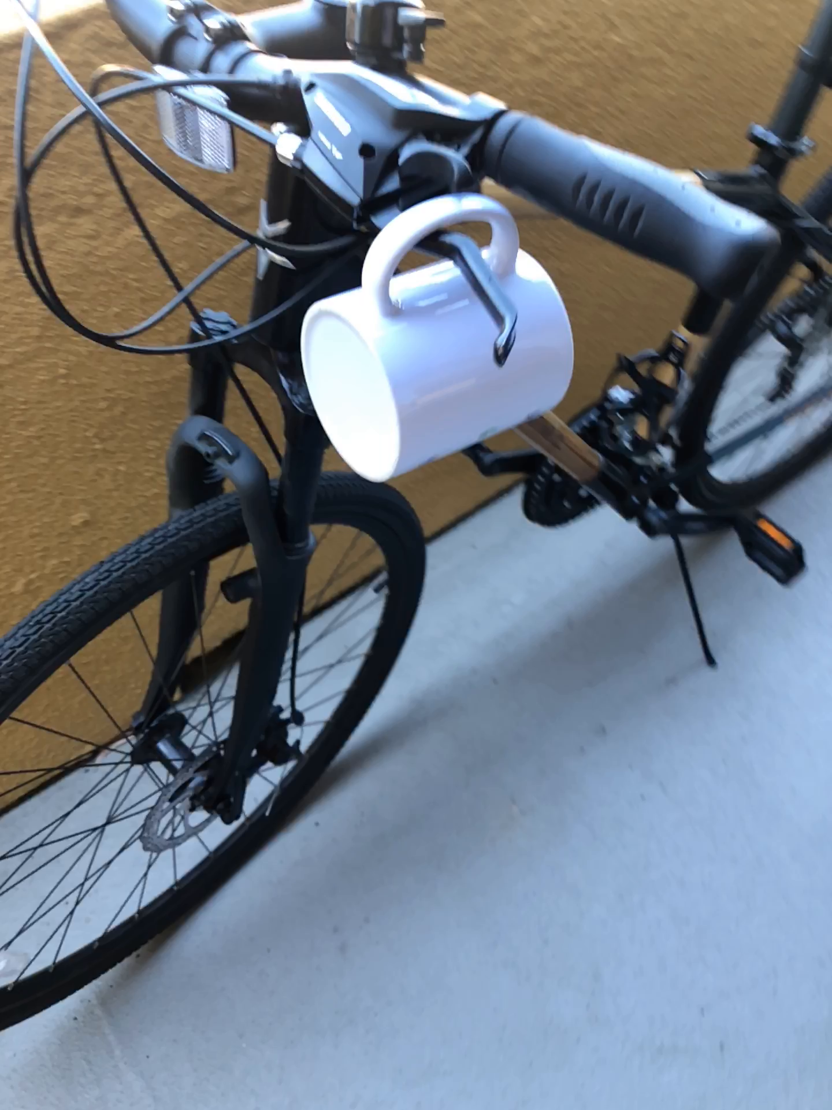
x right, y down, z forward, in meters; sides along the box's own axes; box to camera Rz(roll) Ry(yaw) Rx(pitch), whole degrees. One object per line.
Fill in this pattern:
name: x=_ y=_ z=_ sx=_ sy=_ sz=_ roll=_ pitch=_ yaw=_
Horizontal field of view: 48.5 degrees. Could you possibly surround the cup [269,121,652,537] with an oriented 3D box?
cup: x=0.015 y=-0.098 z=0.407 sx=0.120 sy=0.120 sz=0.090 roll=-23 pitch=58 yaw=-18
